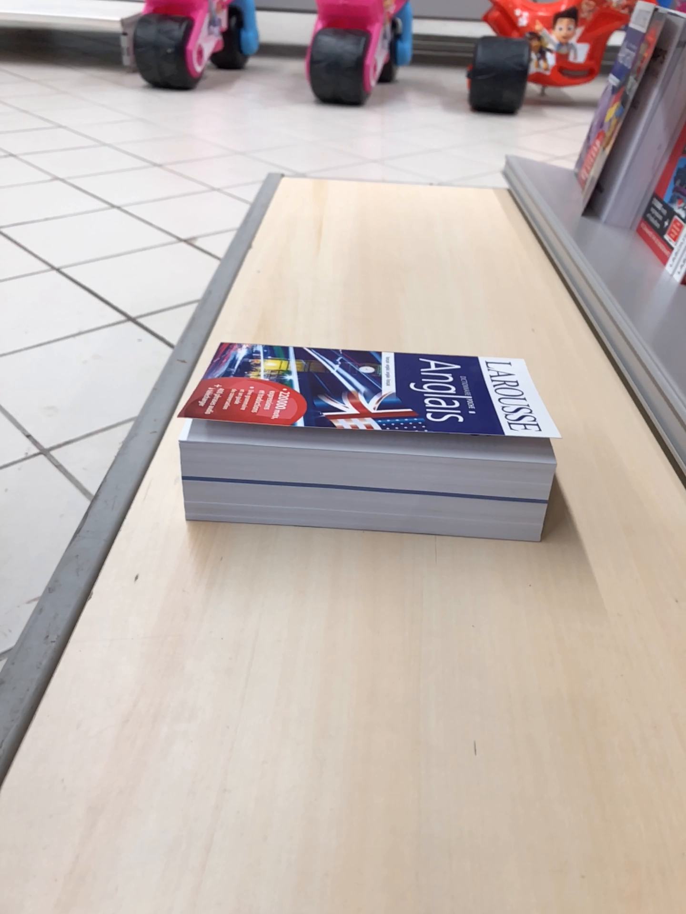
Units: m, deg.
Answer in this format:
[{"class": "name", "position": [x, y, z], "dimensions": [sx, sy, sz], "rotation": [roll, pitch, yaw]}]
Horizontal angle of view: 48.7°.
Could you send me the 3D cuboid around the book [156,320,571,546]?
[{"class": "book", "position": [0.011, -0.018, 0.393], "dimensions": [0.181, 0.054, 0.118], "rotation": [3, 34, 2]}]
